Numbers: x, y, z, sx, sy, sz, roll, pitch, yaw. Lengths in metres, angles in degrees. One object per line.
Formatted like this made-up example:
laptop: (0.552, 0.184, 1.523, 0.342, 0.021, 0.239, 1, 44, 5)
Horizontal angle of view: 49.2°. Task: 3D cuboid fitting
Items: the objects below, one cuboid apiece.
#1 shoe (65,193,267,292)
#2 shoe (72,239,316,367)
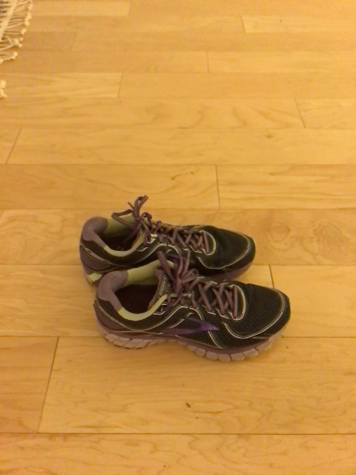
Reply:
shoe: (-0.017, 0.007, 0.588, 0.270, 0.079, 0.121, -1, 50, -1)
shoe: (0.021, 0.084, 0.513, 0.280, 0.079, 0.121, 4, 50, 4)
